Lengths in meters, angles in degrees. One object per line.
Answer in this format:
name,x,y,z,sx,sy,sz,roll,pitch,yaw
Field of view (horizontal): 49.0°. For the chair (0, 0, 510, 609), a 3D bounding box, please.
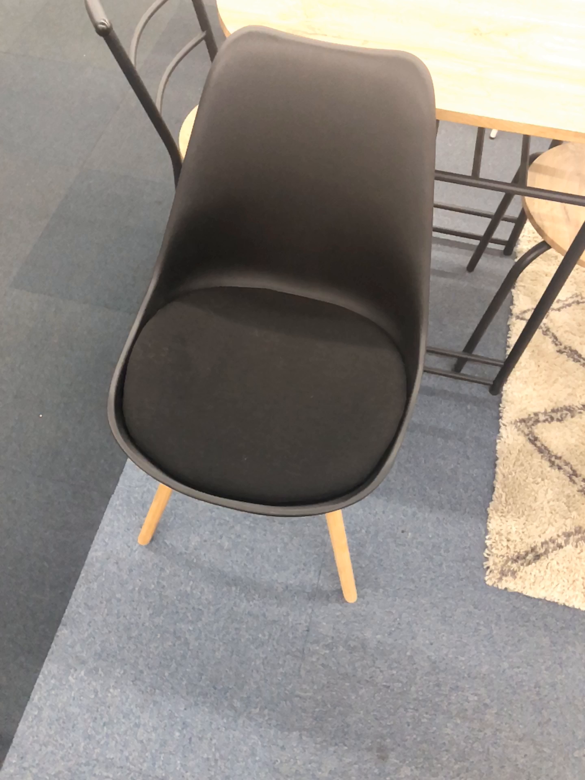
chair,-0.044,-0.050,1.052,0.490,0.858,0.501,13,60,6
